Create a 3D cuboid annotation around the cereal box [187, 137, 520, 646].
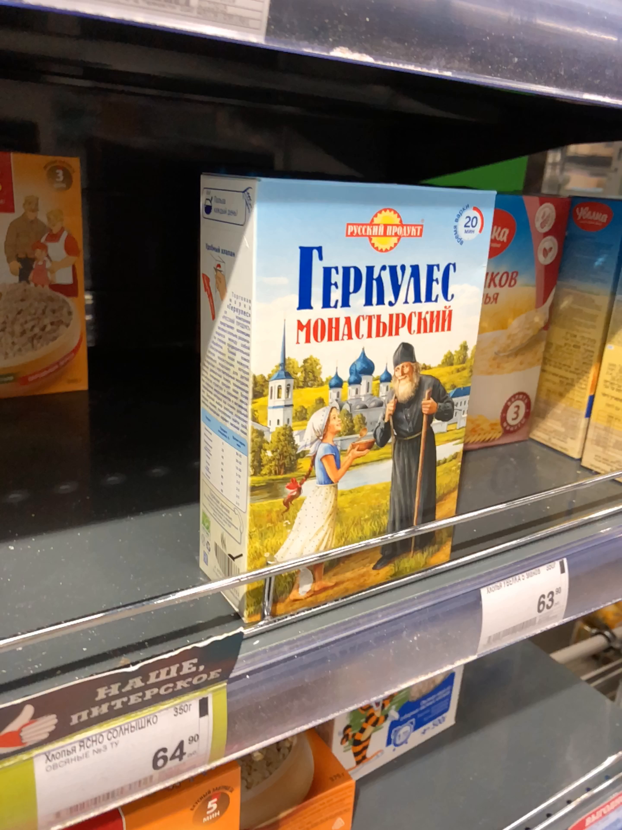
[{"bbox_3d":[0.016,-0.015,0.320,0.130,0.199,0.060,-8,21,-33],"label":"cereal box"}]
